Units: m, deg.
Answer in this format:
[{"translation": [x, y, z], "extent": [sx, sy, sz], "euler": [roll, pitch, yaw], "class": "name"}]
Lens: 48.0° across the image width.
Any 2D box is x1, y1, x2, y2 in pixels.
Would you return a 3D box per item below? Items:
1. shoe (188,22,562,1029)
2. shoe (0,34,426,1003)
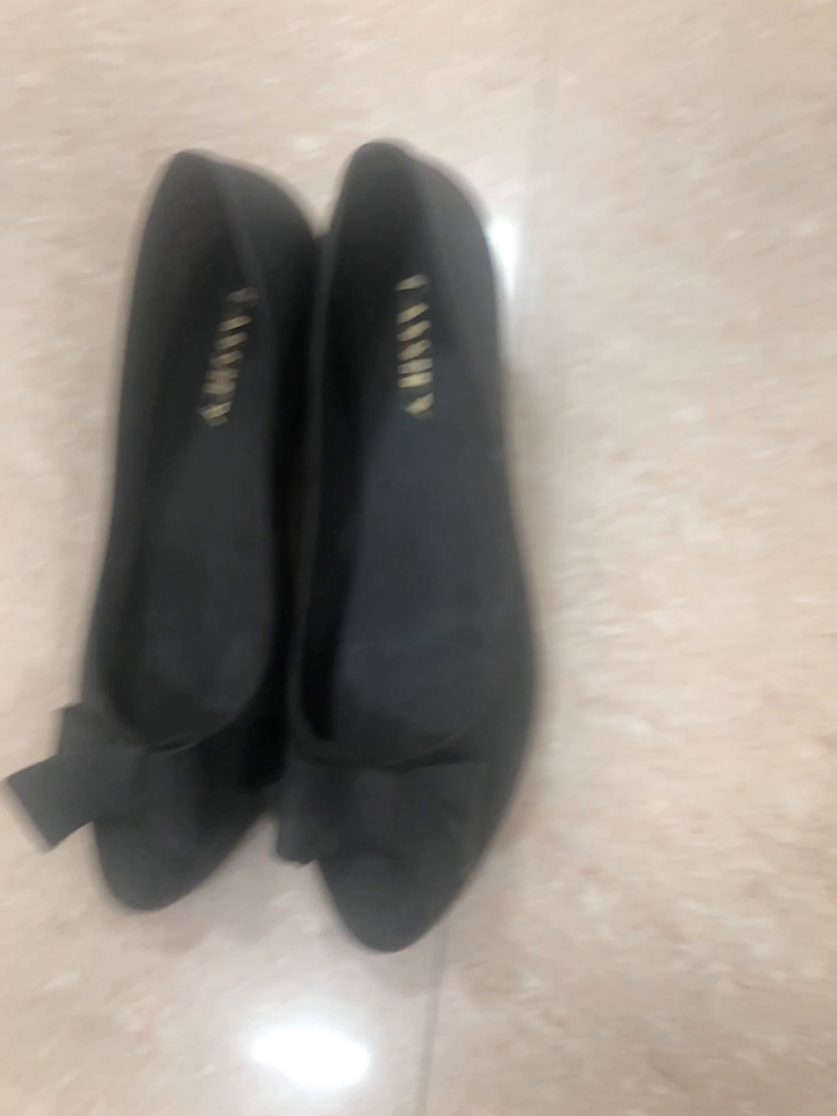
[{"translation": [-0.003, -0.017, 0.335], "extent": [0.090, 0.090, 0.310], "euler": [2, 80, 12], "class": "shoe"}, {"translation": [-0.074, -0.022, 0.344], "extent": [0.090, 0.090, 0.310], "euler": [7, 81, 13], "class": "shoe"}]
